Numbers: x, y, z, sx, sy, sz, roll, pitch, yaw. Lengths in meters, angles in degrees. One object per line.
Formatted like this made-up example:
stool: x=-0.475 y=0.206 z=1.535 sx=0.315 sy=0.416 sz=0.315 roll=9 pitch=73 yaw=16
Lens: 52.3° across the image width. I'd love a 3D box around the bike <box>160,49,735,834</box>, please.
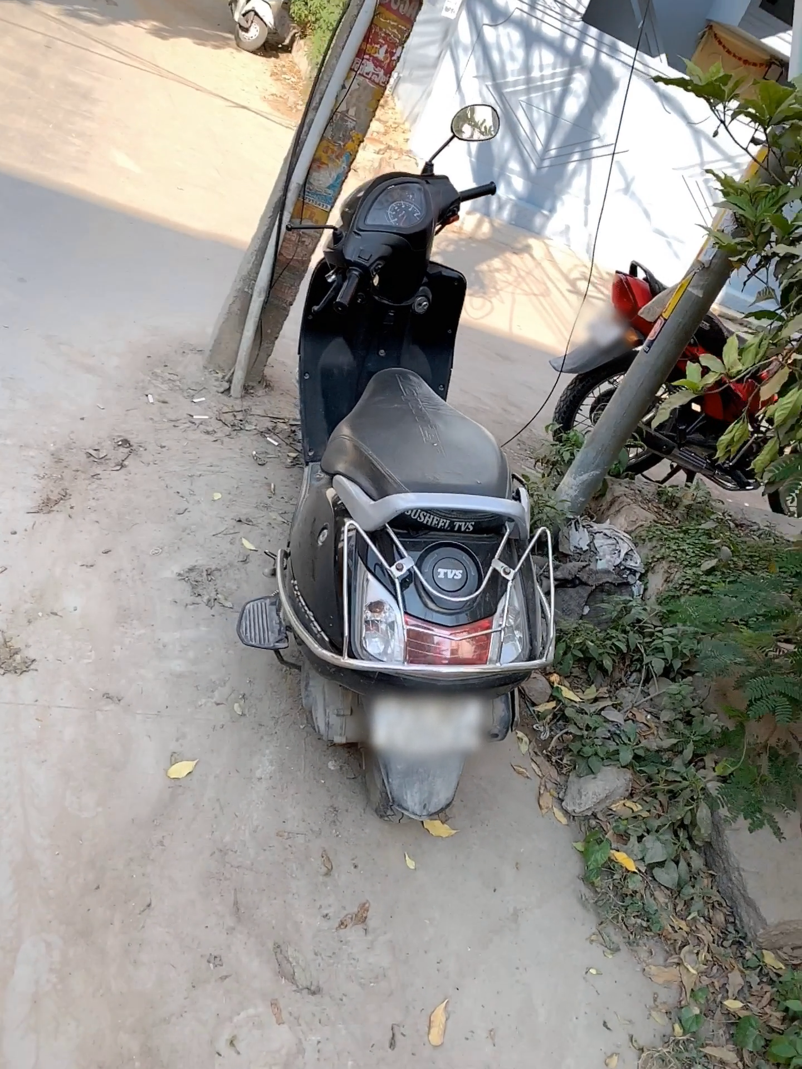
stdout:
bike: x=-0.102 y=-0.395 z=2.015 sx=0.618 sy=0.944 sz=1.825 roll=13 pitch=35 yaw=-20
